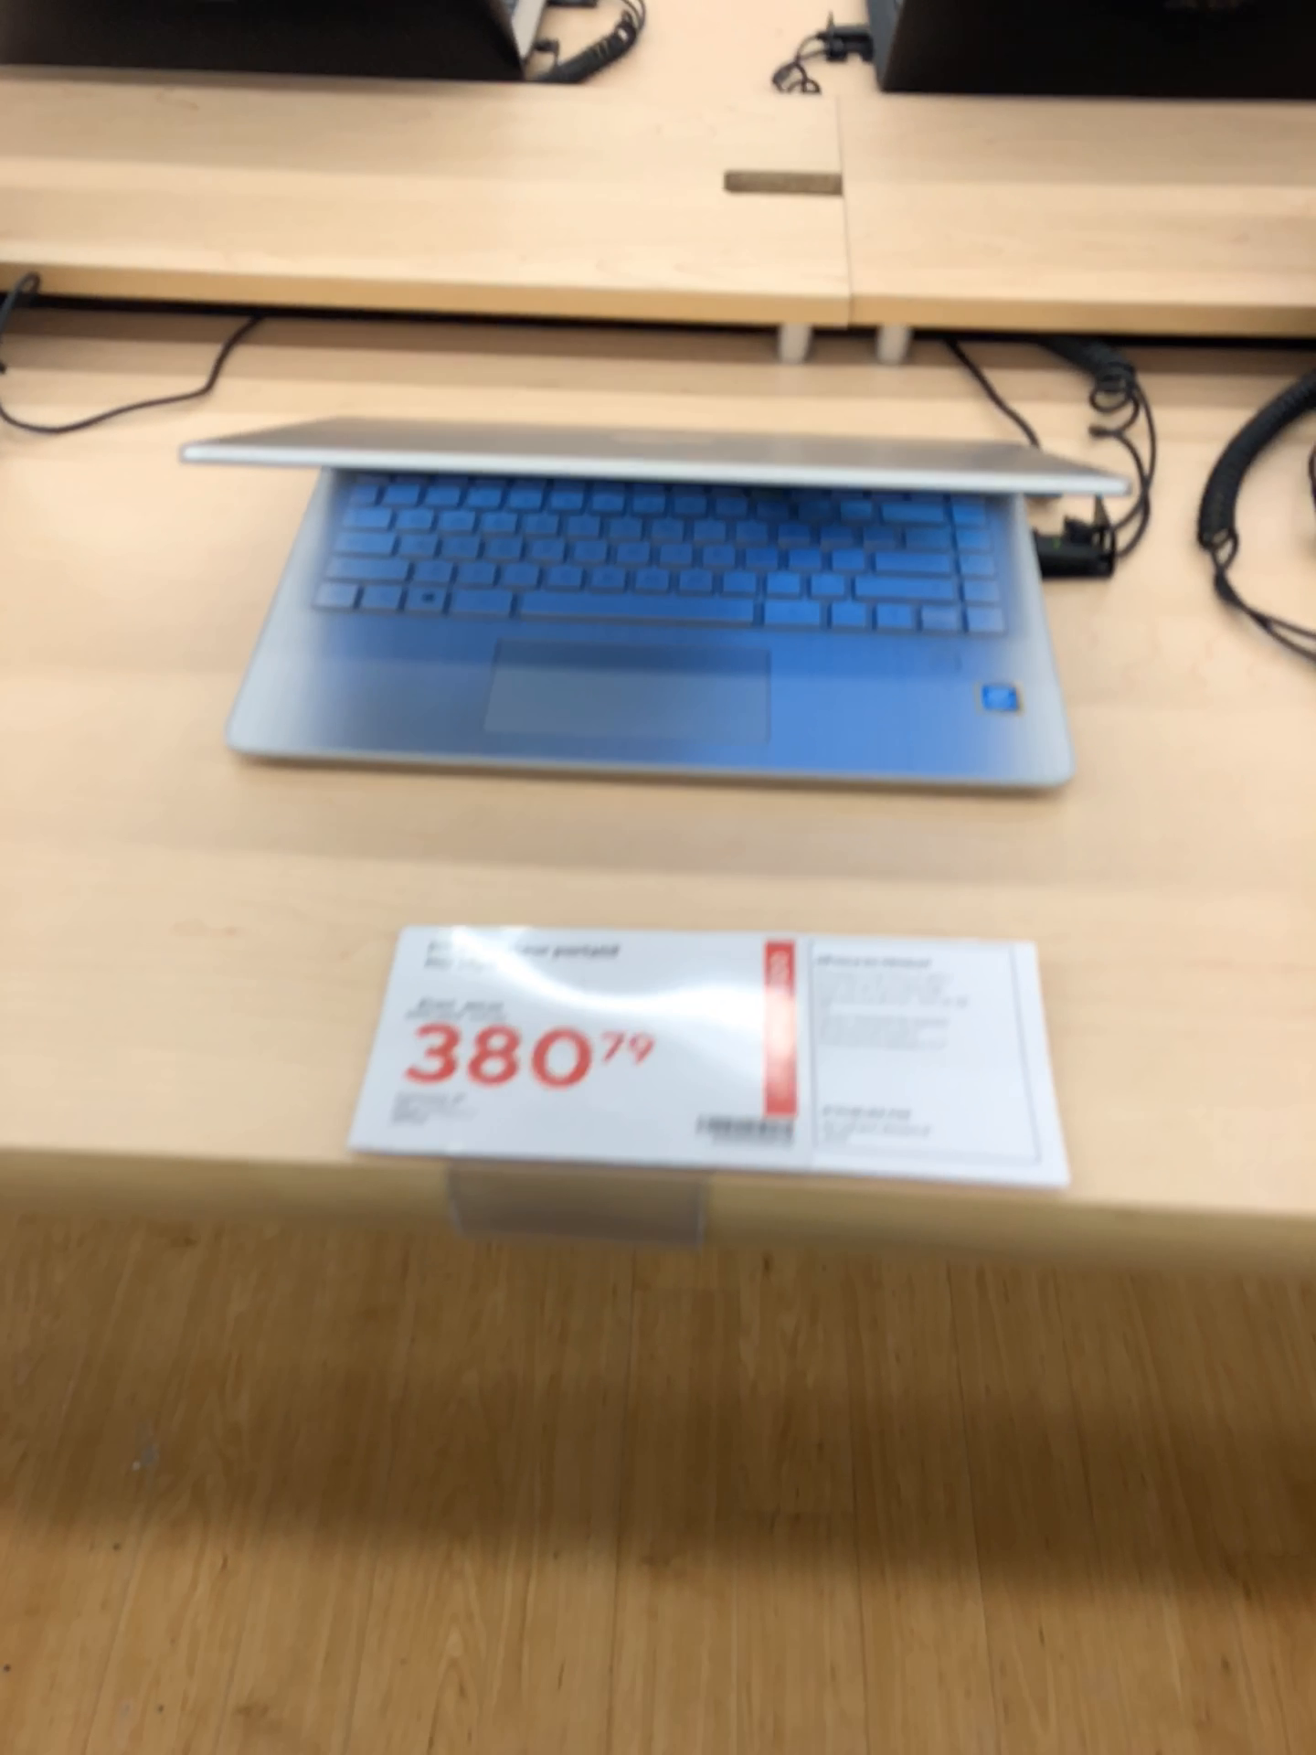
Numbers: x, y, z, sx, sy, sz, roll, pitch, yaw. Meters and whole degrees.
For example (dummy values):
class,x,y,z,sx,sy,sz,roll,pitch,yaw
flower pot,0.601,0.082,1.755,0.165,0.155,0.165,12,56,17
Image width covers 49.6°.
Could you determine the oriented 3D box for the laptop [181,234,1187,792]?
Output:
class,x,y,z,sx,sy,sz,roll,pitch,yaw
laptop,0.001,-0.156,0.558,0.318,0.104,0.217,3,46,8
